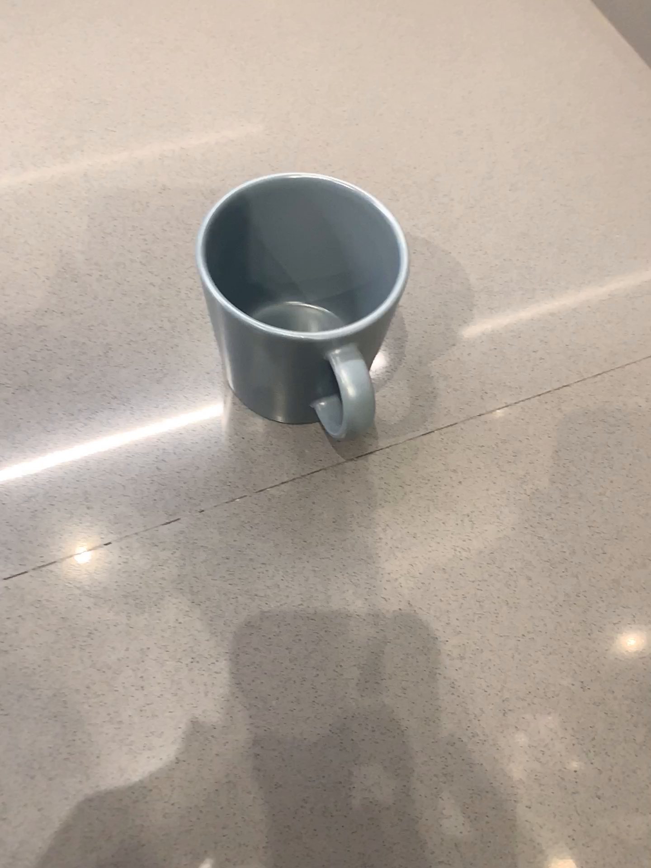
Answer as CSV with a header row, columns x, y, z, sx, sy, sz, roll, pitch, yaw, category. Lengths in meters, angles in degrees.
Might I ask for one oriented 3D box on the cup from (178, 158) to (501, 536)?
x,y,z,sx,sy,sz,roll,pitch,yaw,category
-0.001,-0.040,0.317,0.090,0.090,0.130,-19,67,-13,cup
